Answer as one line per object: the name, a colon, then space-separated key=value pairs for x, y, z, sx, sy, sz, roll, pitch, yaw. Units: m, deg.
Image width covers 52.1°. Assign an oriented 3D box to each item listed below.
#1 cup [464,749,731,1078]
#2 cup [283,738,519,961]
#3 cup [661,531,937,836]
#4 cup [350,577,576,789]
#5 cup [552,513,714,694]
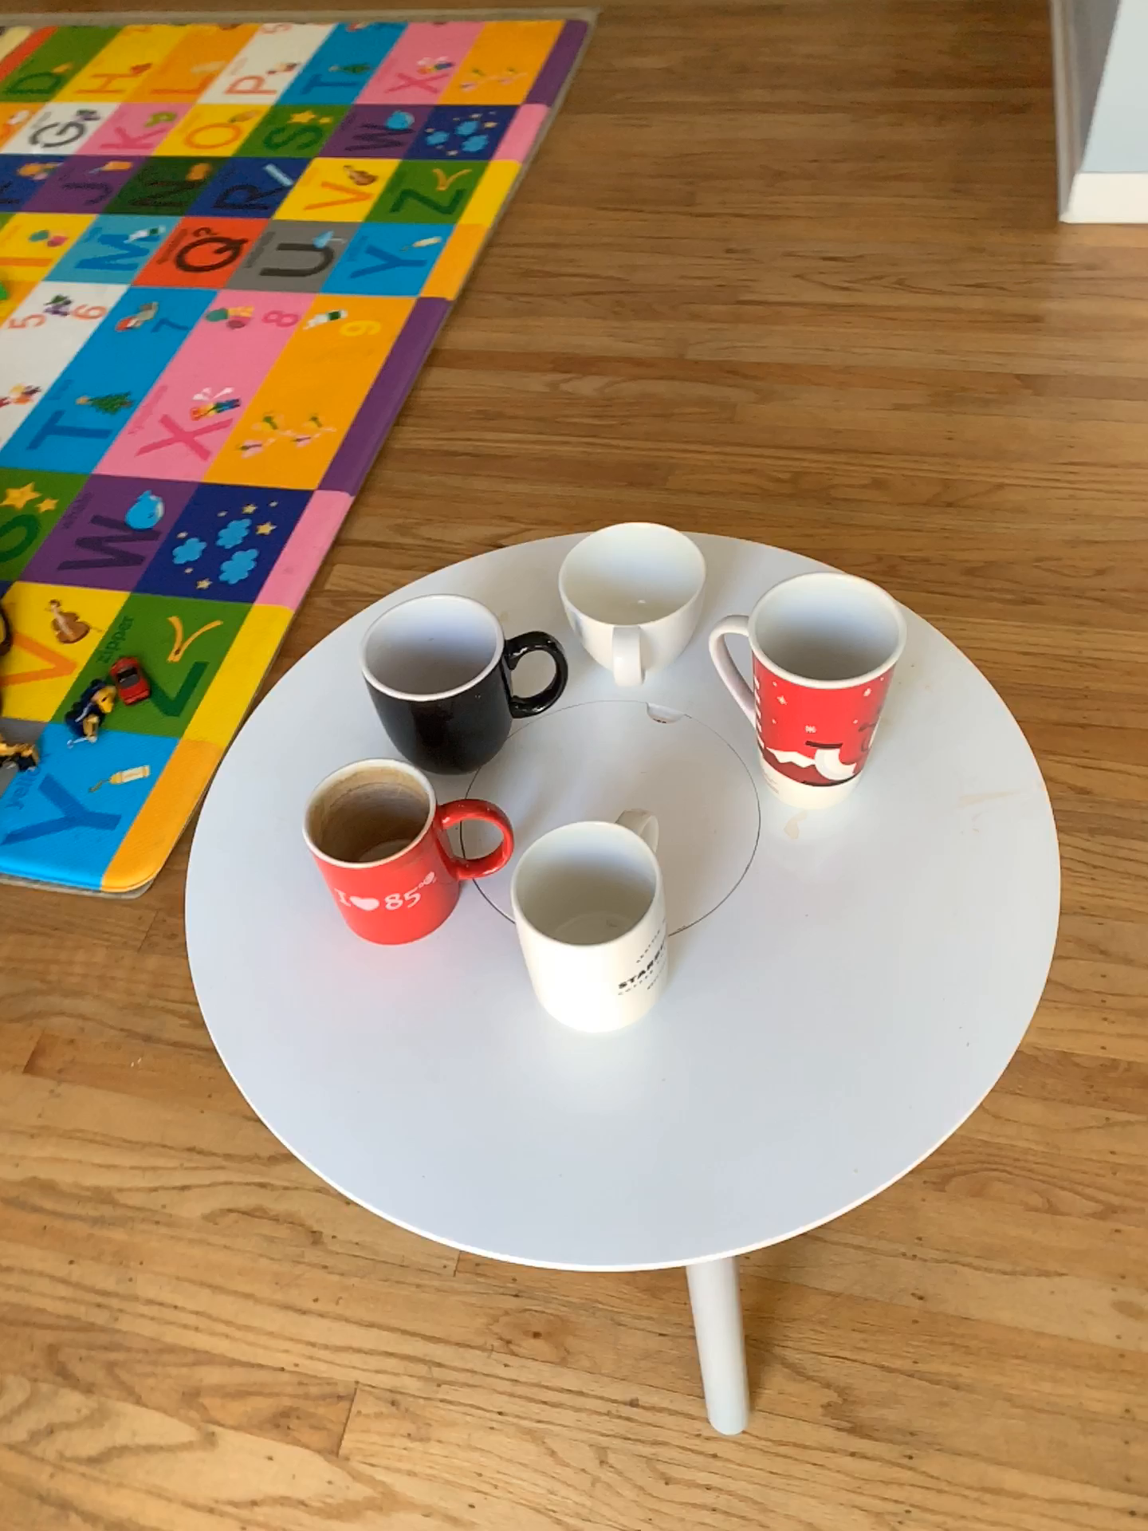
cup: x=0.019 y=0.083 z=0.671 sx=0.090 sy=0.100 sz=0.130 roll=24 pitch=59 yaw=22
cup: x=-0.102 y=0.051 z=0.705 sx=0.120 sy=0.090 sz=0.080 roll=-9 pitch=53 yaw=-1
cup: x=0.139 y=-0.052 z=0.747 sx=0.130 sy=0.120 sz=0.100 roll=27 pitch=60 yaw=24
cup: x=-0.072 y=-0.054 z=0.771 sx=0.130 sy=0.080 sz=0.090 roll=-9 pitch=53 yaw=-1
cup: x=0.039 y=-0.109 z=0.777 sx=0.100 sy=0.040 sz=0.120 roll=-3 pitch=53 yaw=4
